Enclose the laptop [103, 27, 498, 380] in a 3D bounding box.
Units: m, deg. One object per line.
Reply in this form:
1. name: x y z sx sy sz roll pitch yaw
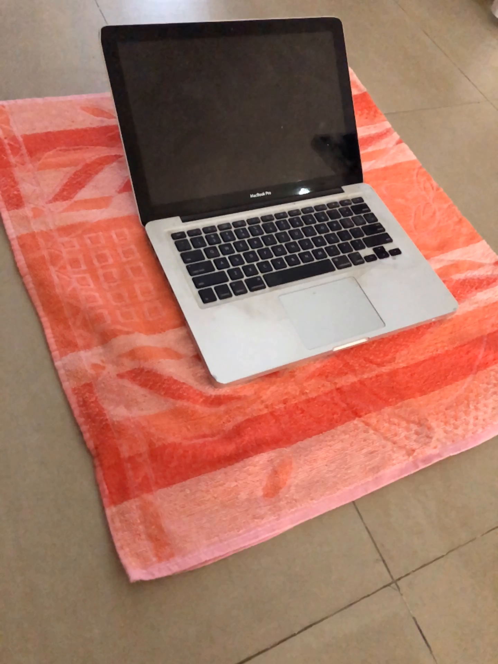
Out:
1. laptop: 0.043 -0.176 0.623 0.310 0.133 0.373 -16 61 -23
